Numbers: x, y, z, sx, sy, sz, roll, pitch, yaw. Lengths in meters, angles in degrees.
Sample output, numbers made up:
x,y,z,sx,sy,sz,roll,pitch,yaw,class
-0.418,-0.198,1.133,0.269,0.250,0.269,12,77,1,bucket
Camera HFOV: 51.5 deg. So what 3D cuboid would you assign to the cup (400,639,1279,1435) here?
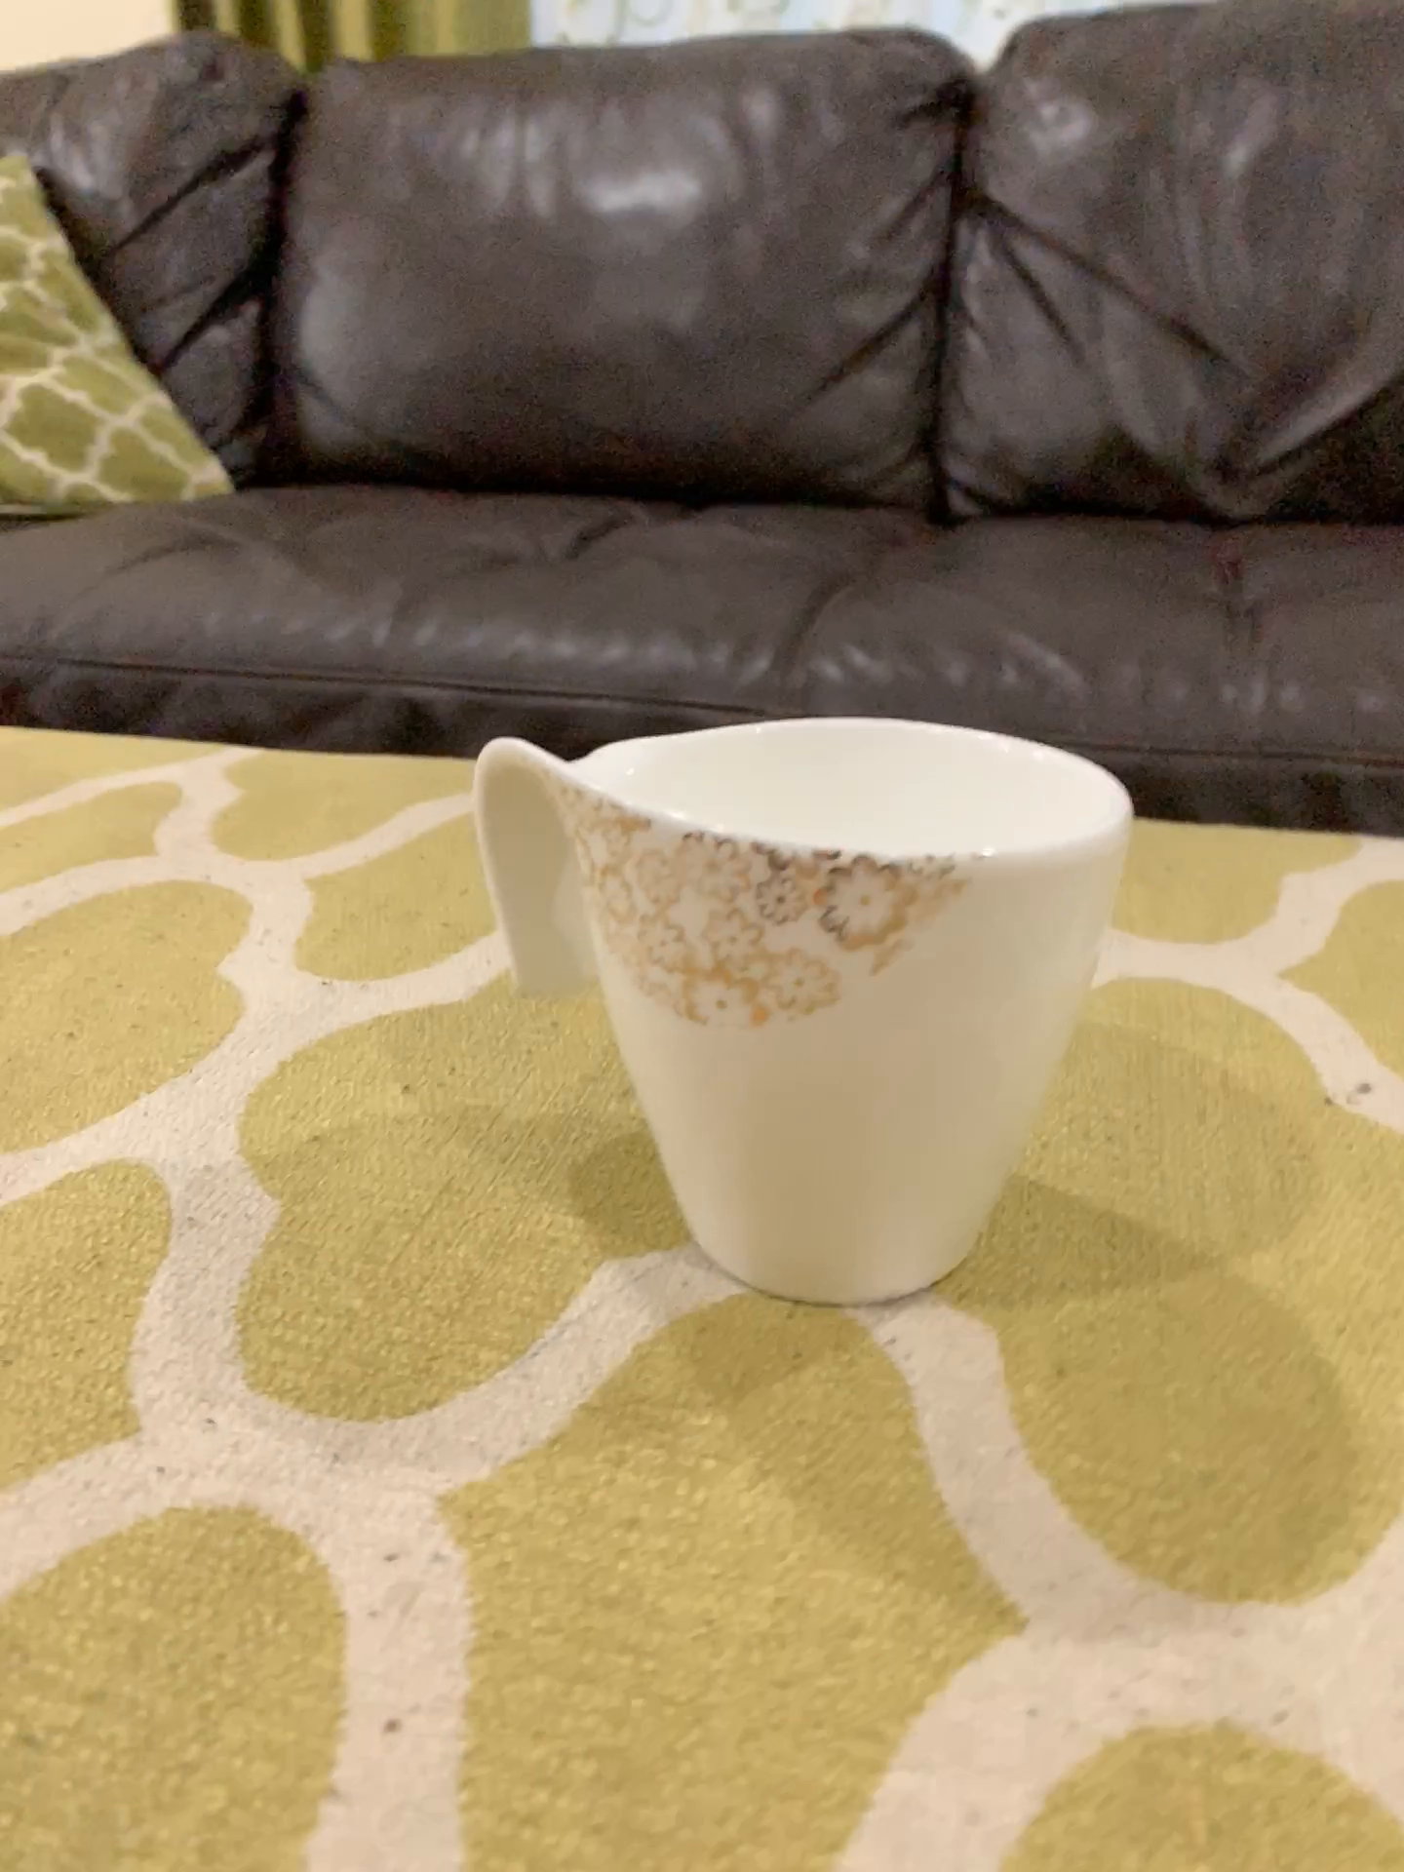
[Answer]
x,y,z,sx,sy,sz,roll,pitch,yaw,class
0.022,0.004,0.248,0.109,0.079,0.089,18,30,36,cup
